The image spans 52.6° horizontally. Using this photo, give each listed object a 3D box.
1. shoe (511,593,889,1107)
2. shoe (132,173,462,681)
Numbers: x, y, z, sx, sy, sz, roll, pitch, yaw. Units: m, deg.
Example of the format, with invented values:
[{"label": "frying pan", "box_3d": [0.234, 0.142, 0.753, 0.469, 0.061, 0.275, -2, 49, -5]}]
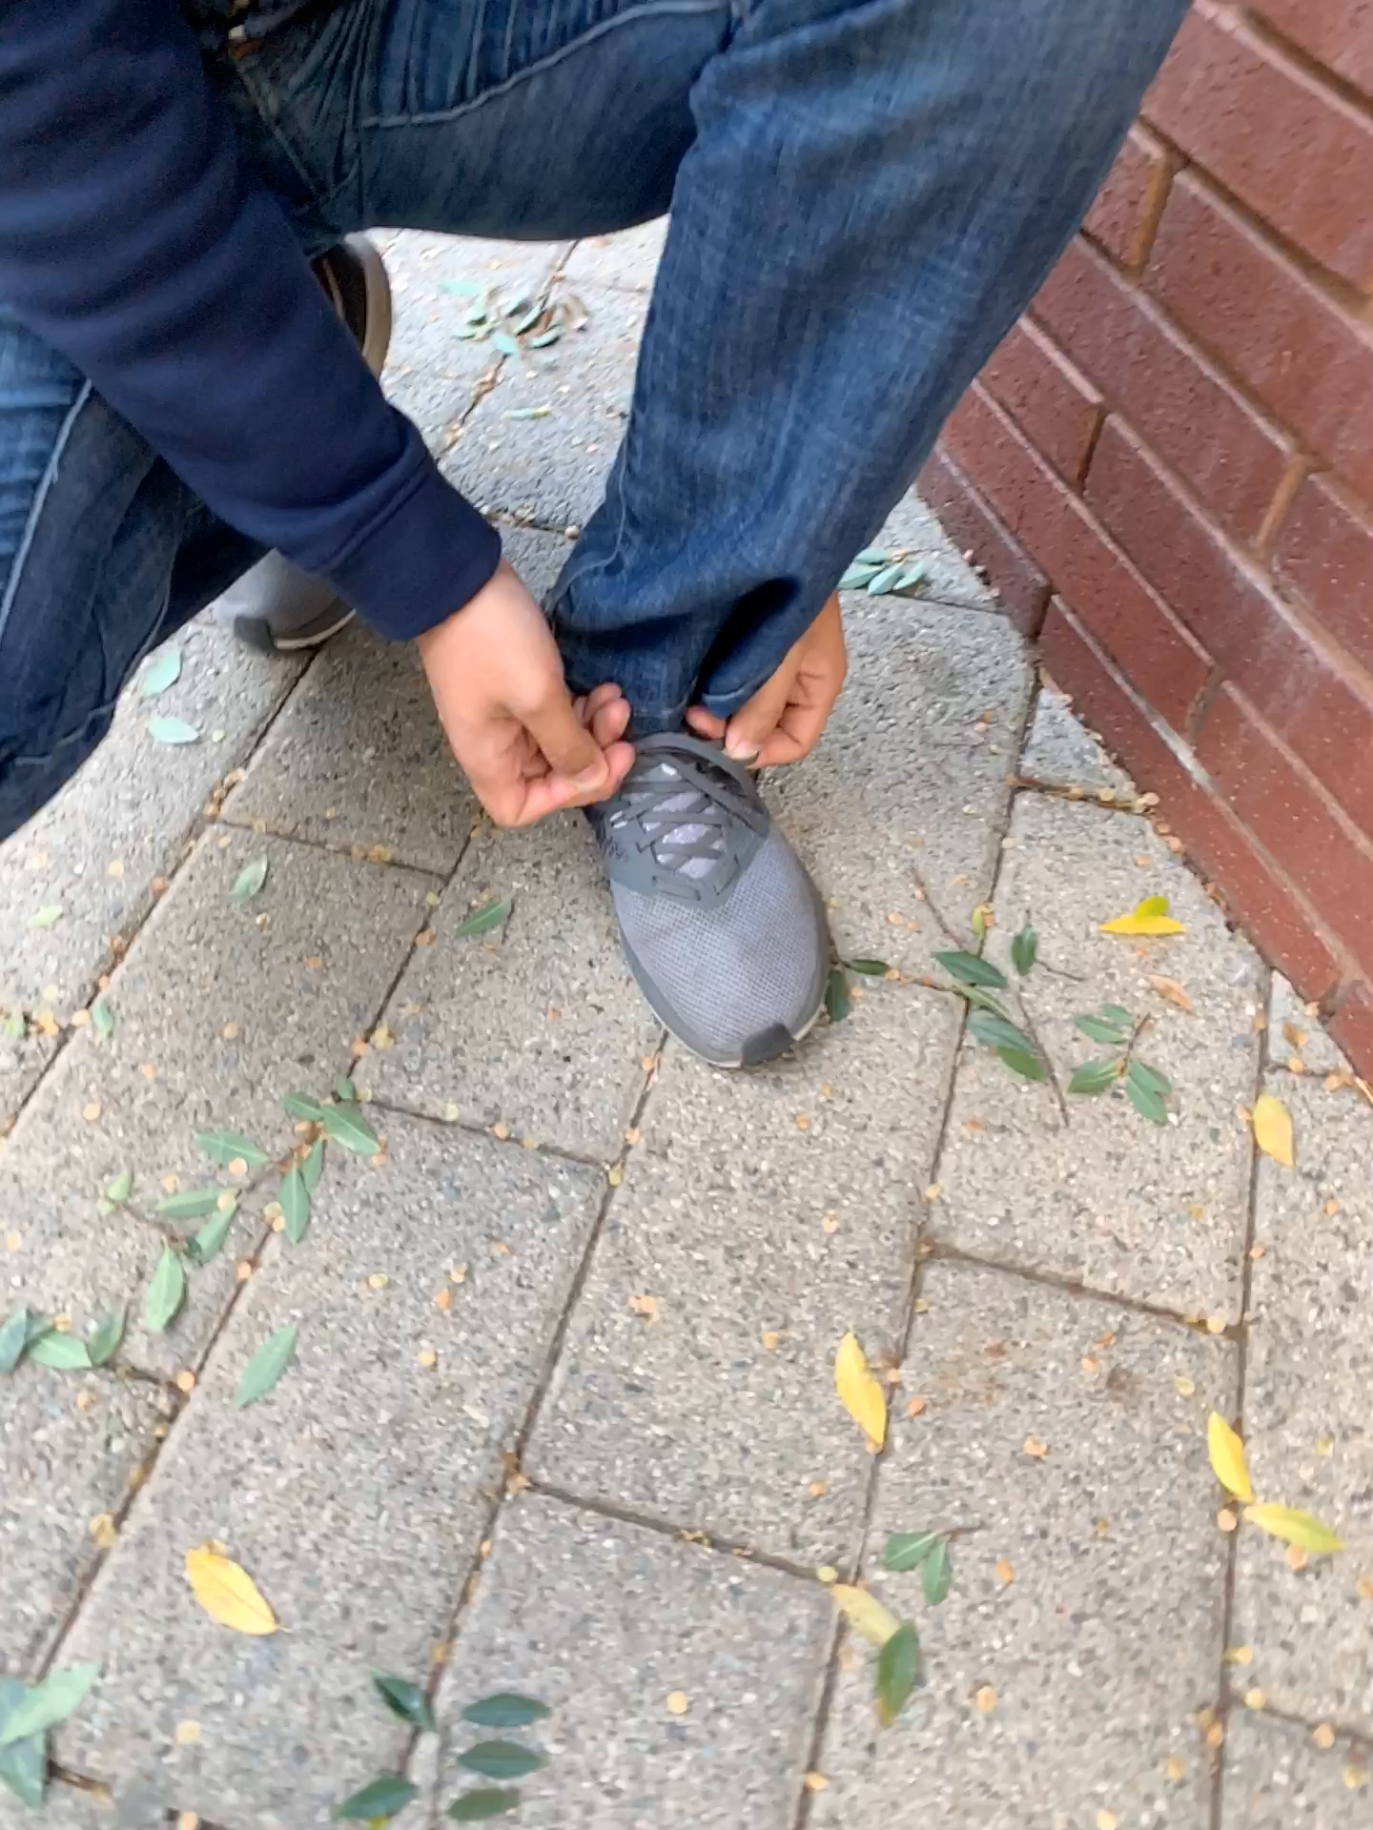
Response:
[{"label": "shoe", "box_3d": [-0.003, -0.047, 0.776, 0.110, 0.083, 0.281, -16, 56, -13]}, {"label": "shoe", "box_3d": [-0.248, -0.298, 0.882, 0.116, 0.274, 0.098, 20, 15, 15]}]
